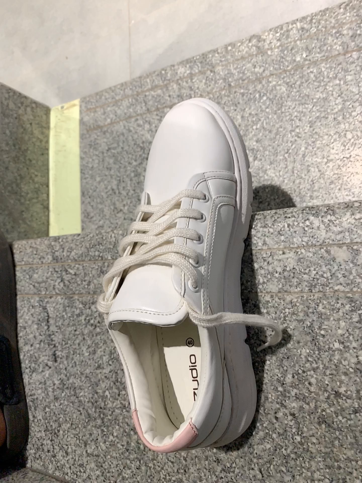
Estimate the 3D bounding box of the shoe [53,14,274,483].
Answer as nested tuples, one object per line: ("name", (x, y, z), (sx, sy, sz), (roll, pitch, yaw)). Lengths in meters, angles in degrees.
("shoe", (-0.011, 0.023, 0.274), (0.111, 0.110, 0.290), (-5, 83, 30))
